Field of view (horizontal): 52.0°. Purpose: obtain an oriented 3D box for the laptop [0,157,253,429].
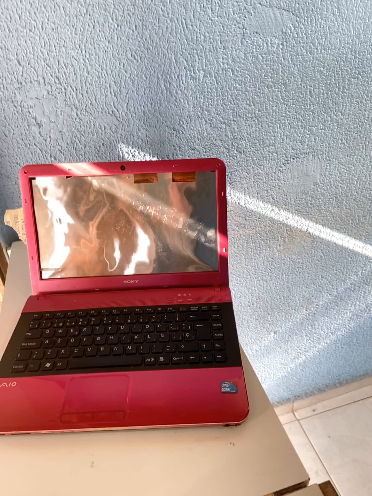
[{"bbox_3d":[-0.099,0.036,0.551,0.330,0.187,0.341,-2,36,1],"label":"laptop"}]
